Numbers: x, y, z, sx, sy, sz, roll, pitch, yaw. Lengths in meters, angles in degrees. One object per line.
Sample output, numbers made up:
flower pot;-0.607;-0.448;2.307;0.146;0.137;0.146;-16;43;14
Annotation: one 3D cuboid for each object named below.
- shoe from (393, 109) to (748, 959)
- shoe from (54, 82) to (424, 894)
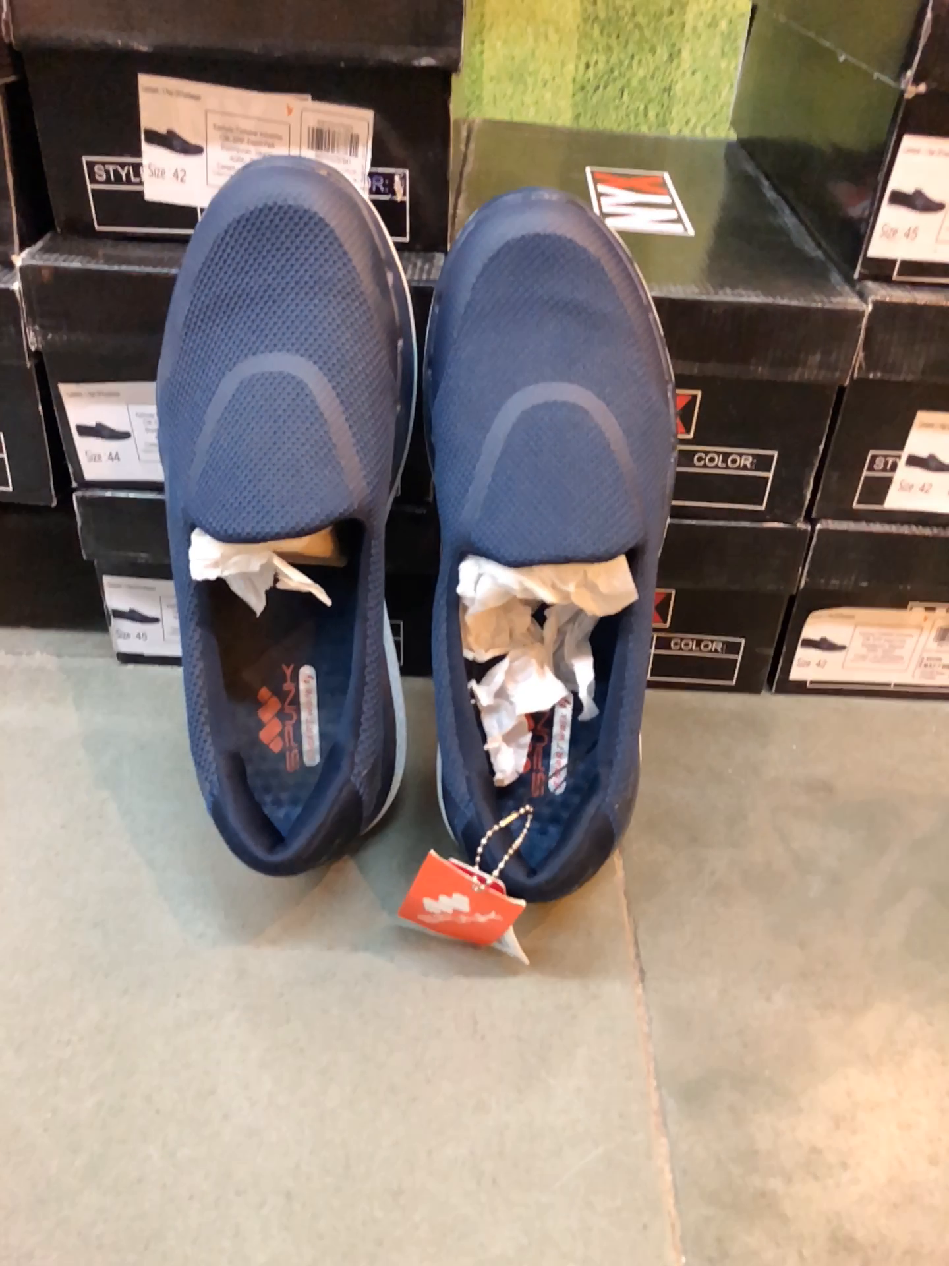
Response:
shoe;0.027;-0.032;0.387;0.107;0.273;0.099;1;10;-1
shoe;-0.078;-0.050;0.408;0.109;0.273;0.110;0;11;0
